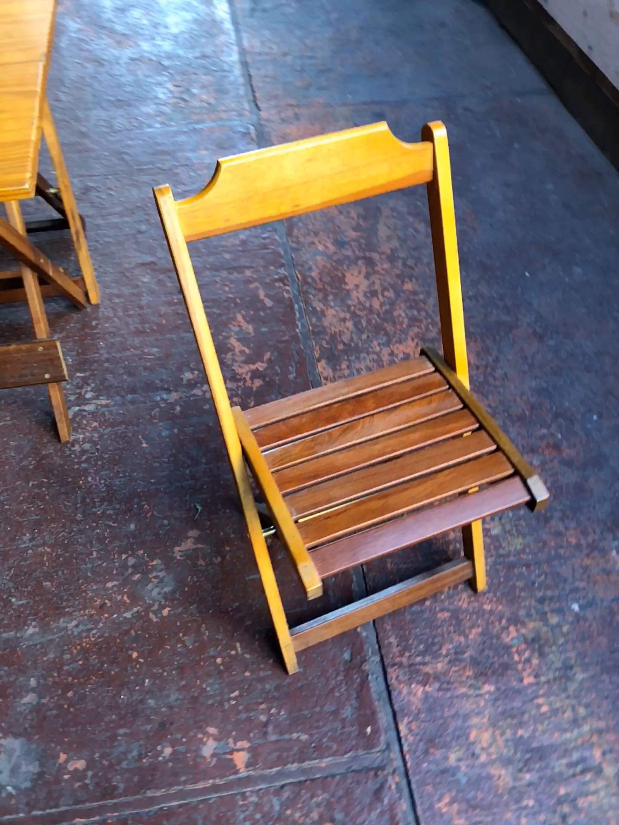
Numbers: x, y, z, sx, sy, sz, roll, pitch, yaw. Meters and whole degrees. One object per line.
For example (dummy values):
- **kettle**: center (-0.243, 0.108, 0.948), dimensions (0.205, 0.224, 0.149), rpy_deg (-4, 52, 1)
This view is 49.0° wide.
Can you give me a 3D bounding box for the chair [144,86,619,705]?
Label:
- **chair**: center (0.094, 0.014, 1.037), dimensions (0.451, 0.736, 0.472), rpy_deg (-19, 54, -16)
